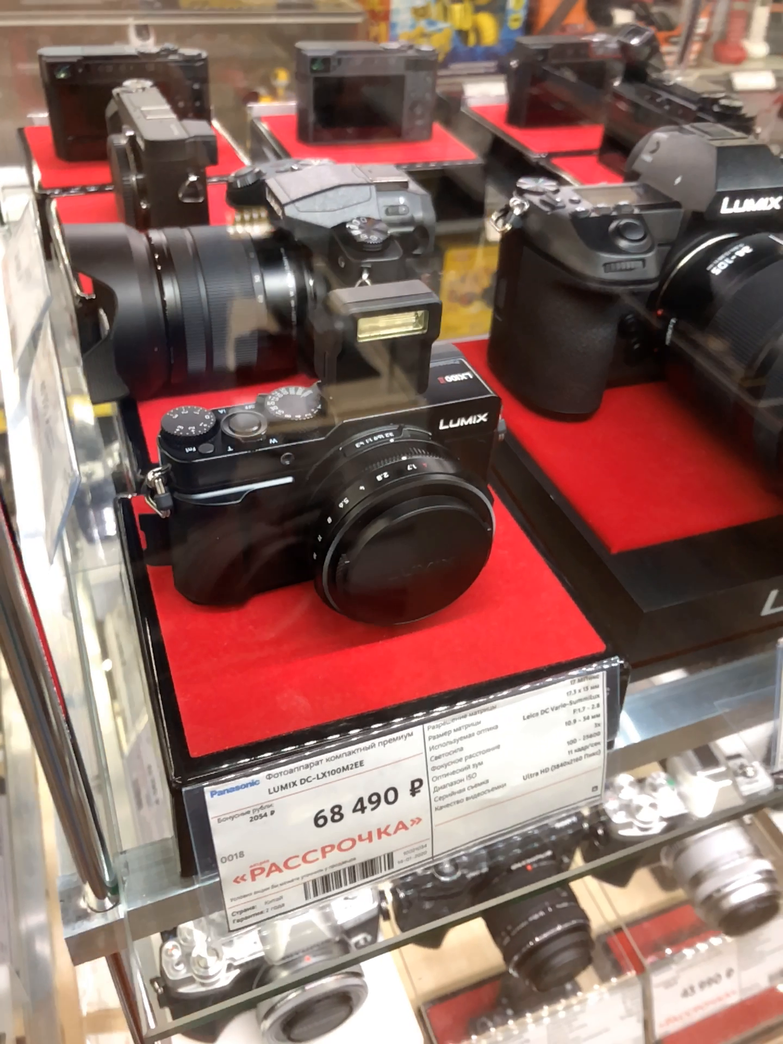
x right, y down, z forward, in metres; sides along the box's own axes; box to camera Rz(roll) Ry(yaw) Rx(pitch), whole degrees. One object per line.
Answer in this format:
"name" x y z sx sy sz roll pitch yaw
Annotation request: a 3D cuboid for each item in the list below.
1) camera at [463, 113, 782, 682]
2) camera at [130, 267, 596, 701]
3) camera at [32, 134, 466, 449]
"camera" 0.164 -0.076 0.368 0.175 0.114 0.227 -12 42 -19
"camera" -0.012 -0.015 0.281 0.117 0.098 0.069 -12 42 -19
"camera" -0.061 -0.102 0.365 0.149 0.081 0.099 -10 41 -17
